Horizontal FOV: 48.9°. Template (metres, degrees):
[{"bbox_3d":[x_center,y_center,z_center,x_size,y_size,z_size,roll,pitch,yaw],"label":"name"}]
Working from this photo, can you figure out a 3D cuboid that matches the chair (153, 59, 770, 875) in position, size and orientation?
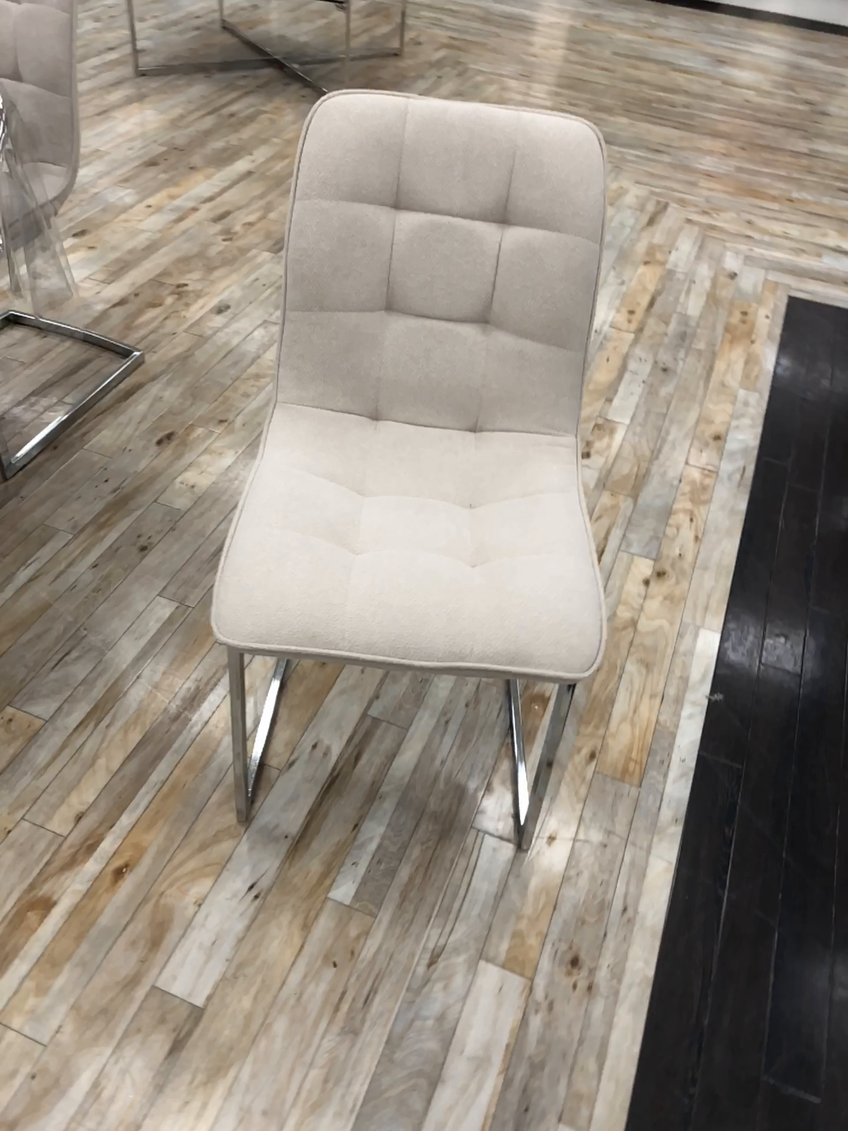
[{"bbox_3d":[0.018,-0.103,1.237,0.490,0.837,0.592,7,42,0],"label":"chair"}]
